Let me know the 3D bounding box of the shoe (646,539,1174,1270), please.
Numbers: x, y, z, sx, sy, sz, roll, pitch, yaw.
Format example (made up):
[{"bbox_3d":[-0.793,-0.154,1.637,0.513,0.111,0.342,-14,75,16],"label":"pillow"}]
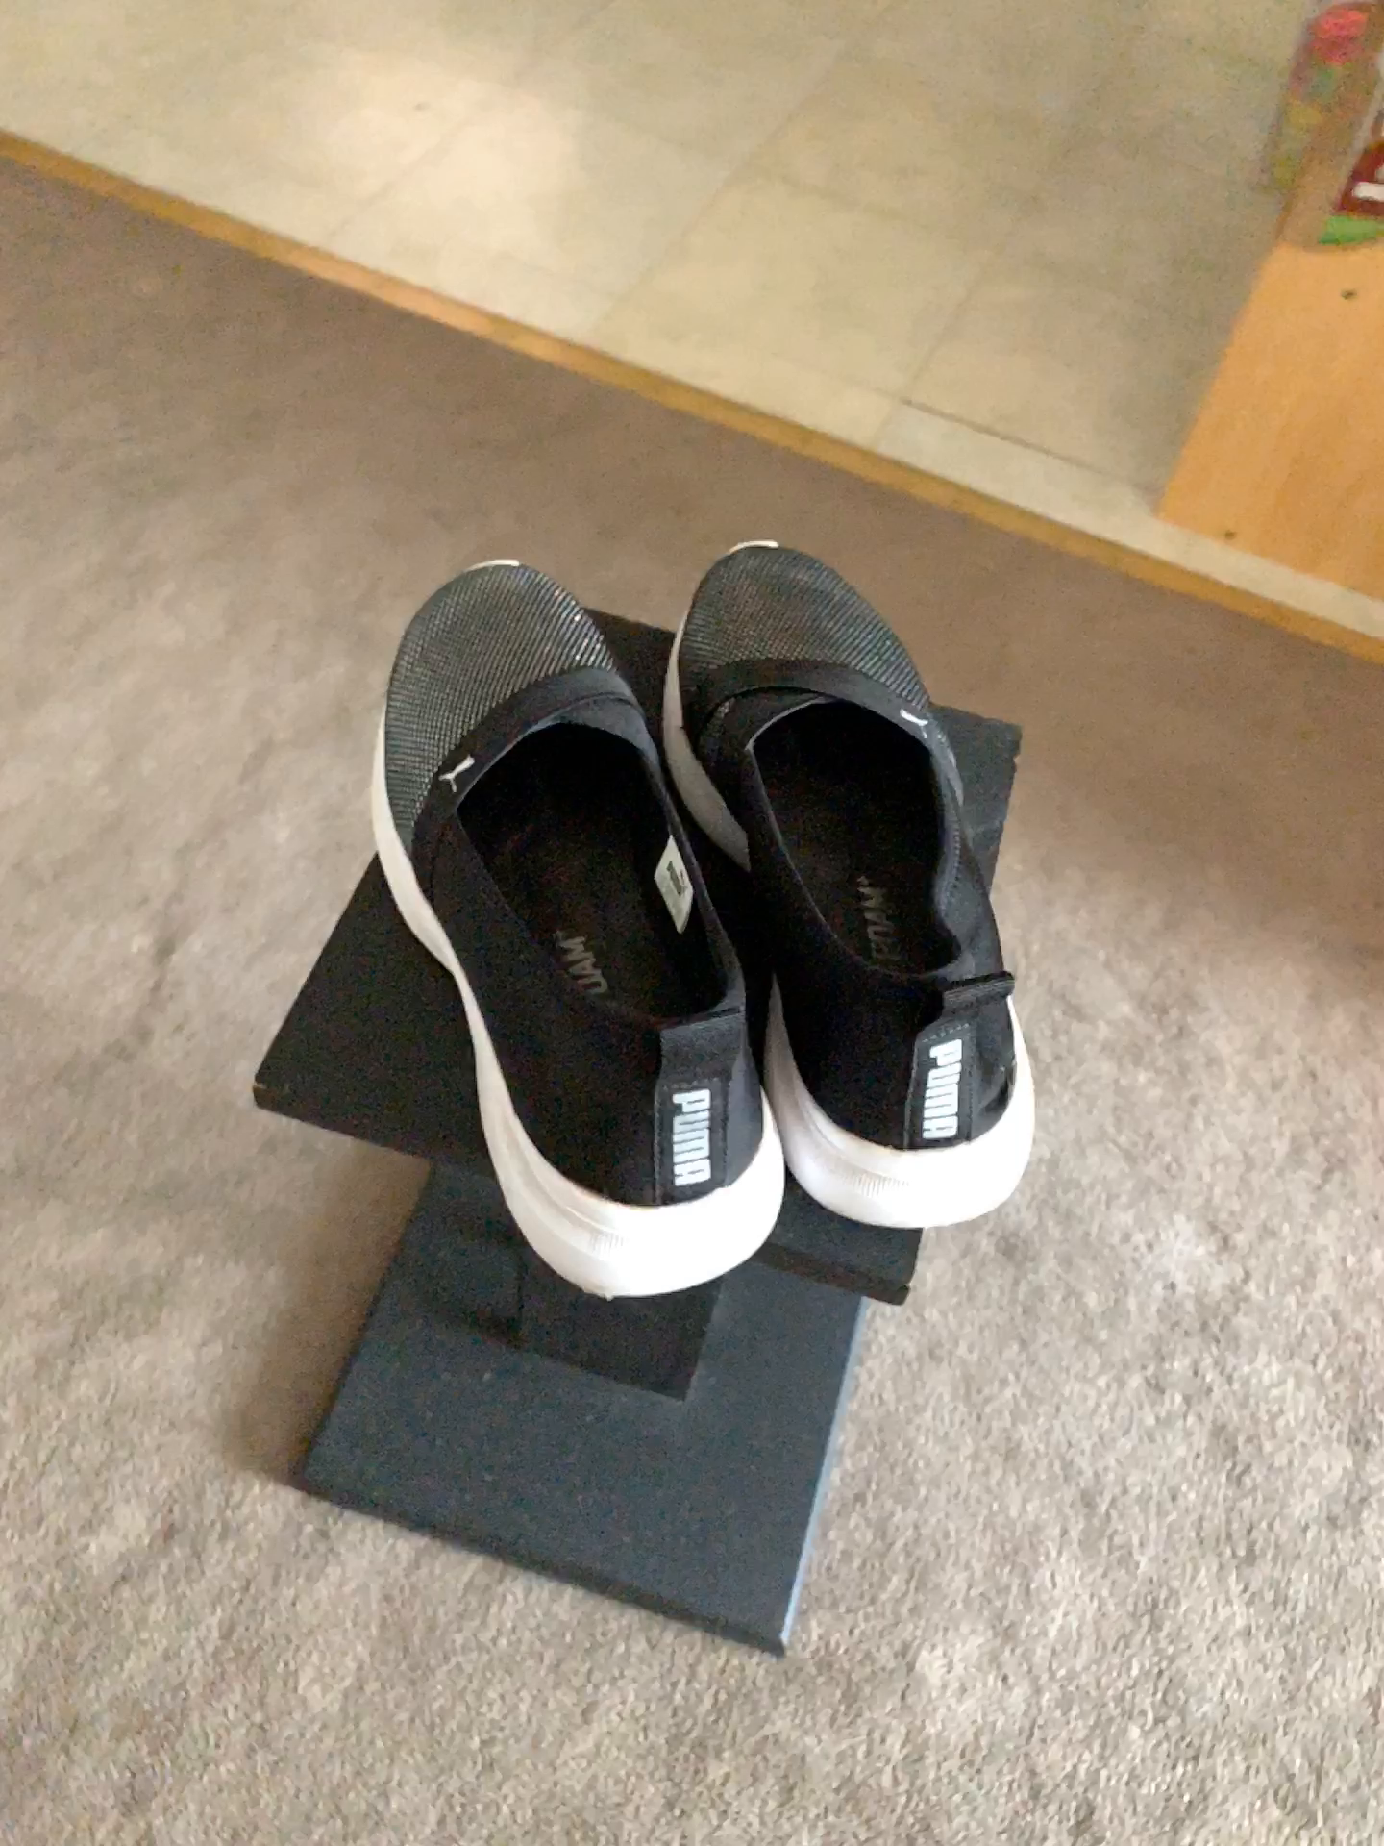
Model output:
[{"bbox_3d":[0.050,-0.022,0.454,0.090,0.079,0.242,-5,45,-10],"label":"shoe"}]

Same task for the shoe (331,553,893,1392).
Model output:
[{"bbox_3d":[-0.039,-0.007,0.430,0.090,0.079,0.262,-12,45,-14],"label":"shoe"}]
